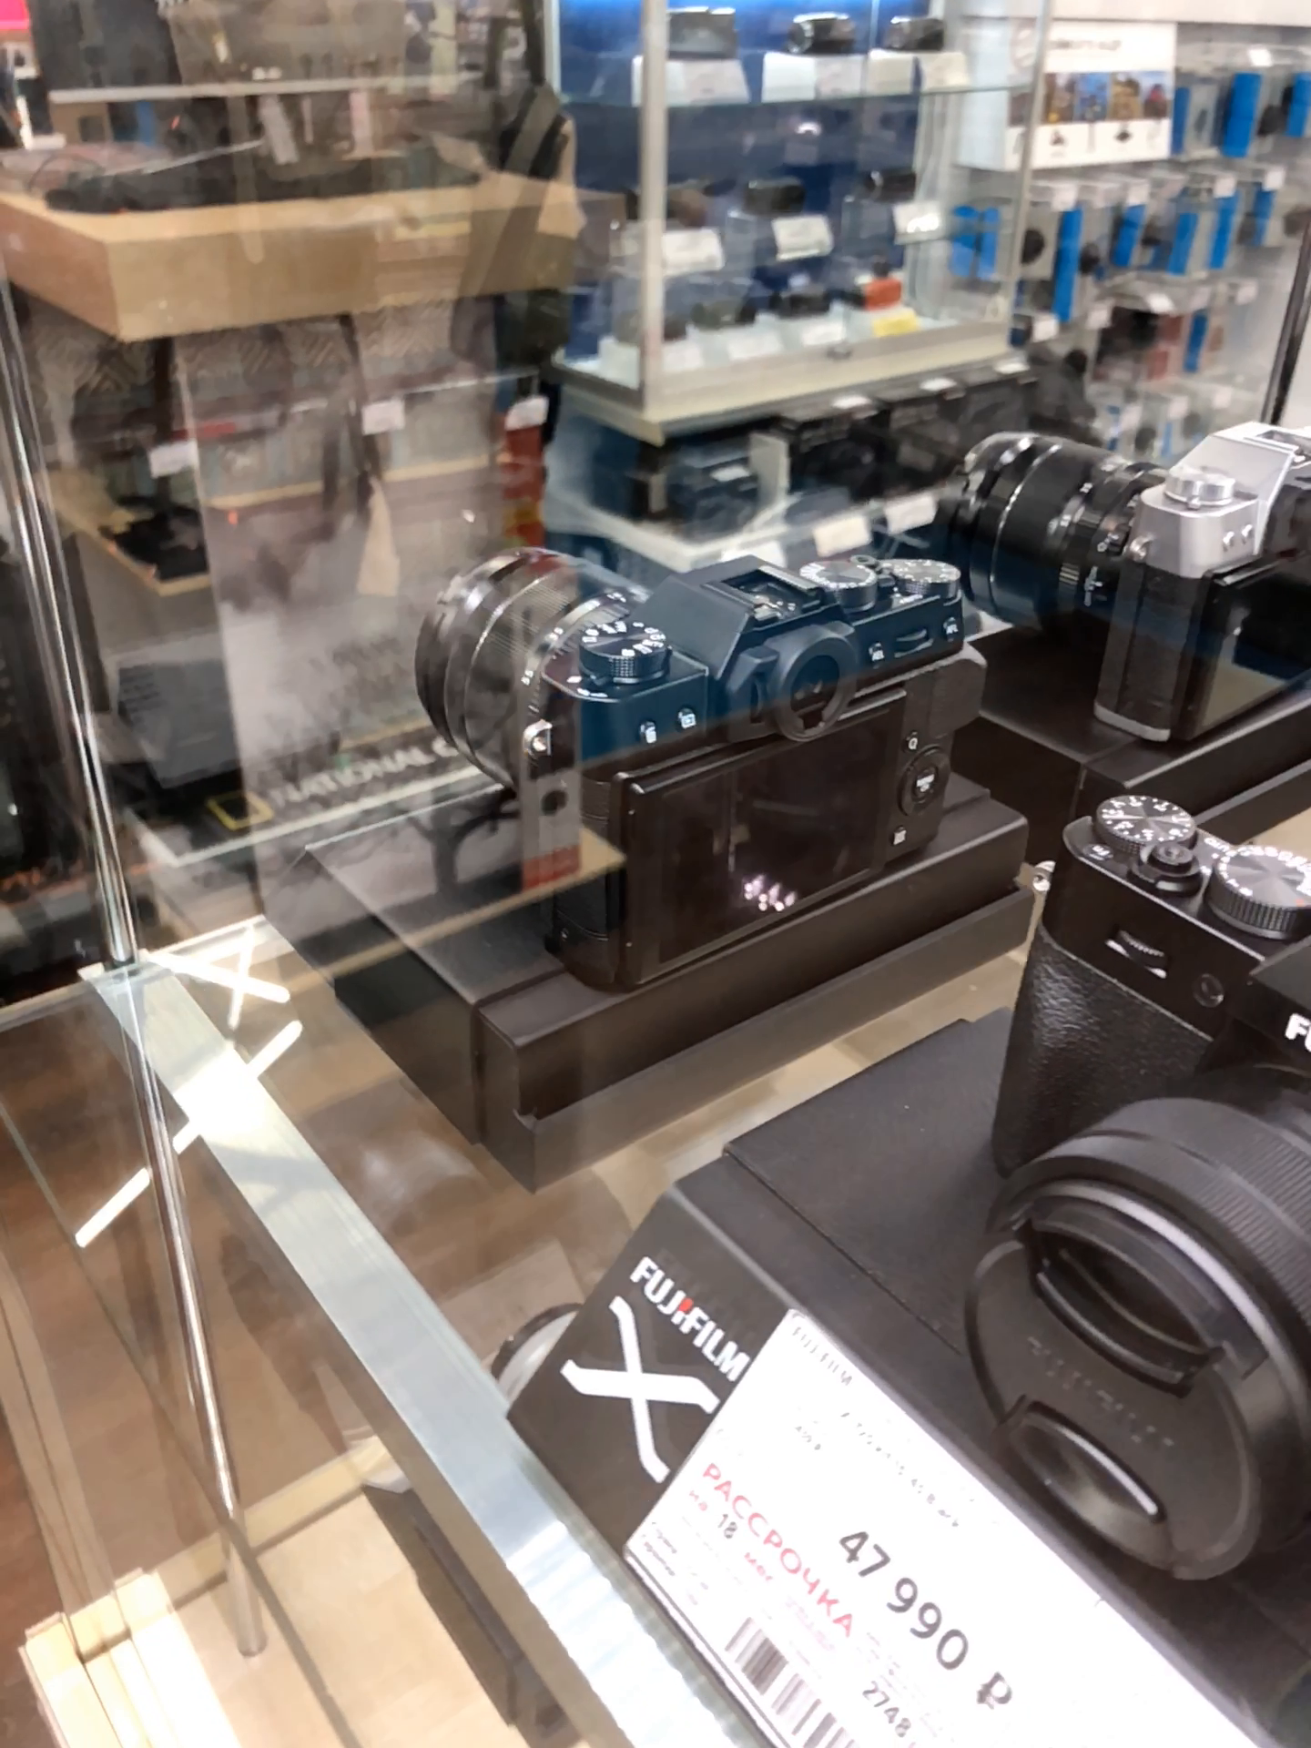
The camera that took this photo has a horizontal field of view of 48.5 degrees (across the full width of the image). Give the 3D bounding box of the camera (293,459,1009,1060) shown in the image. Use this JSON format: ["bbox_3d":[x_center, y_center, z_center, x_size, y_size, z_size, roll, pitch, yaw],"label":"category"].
[{"bbox_3d":[-0.004,-0.039,0.365,0.121,0.081,0.121,-21,39,-33],"label":"camera"}]
